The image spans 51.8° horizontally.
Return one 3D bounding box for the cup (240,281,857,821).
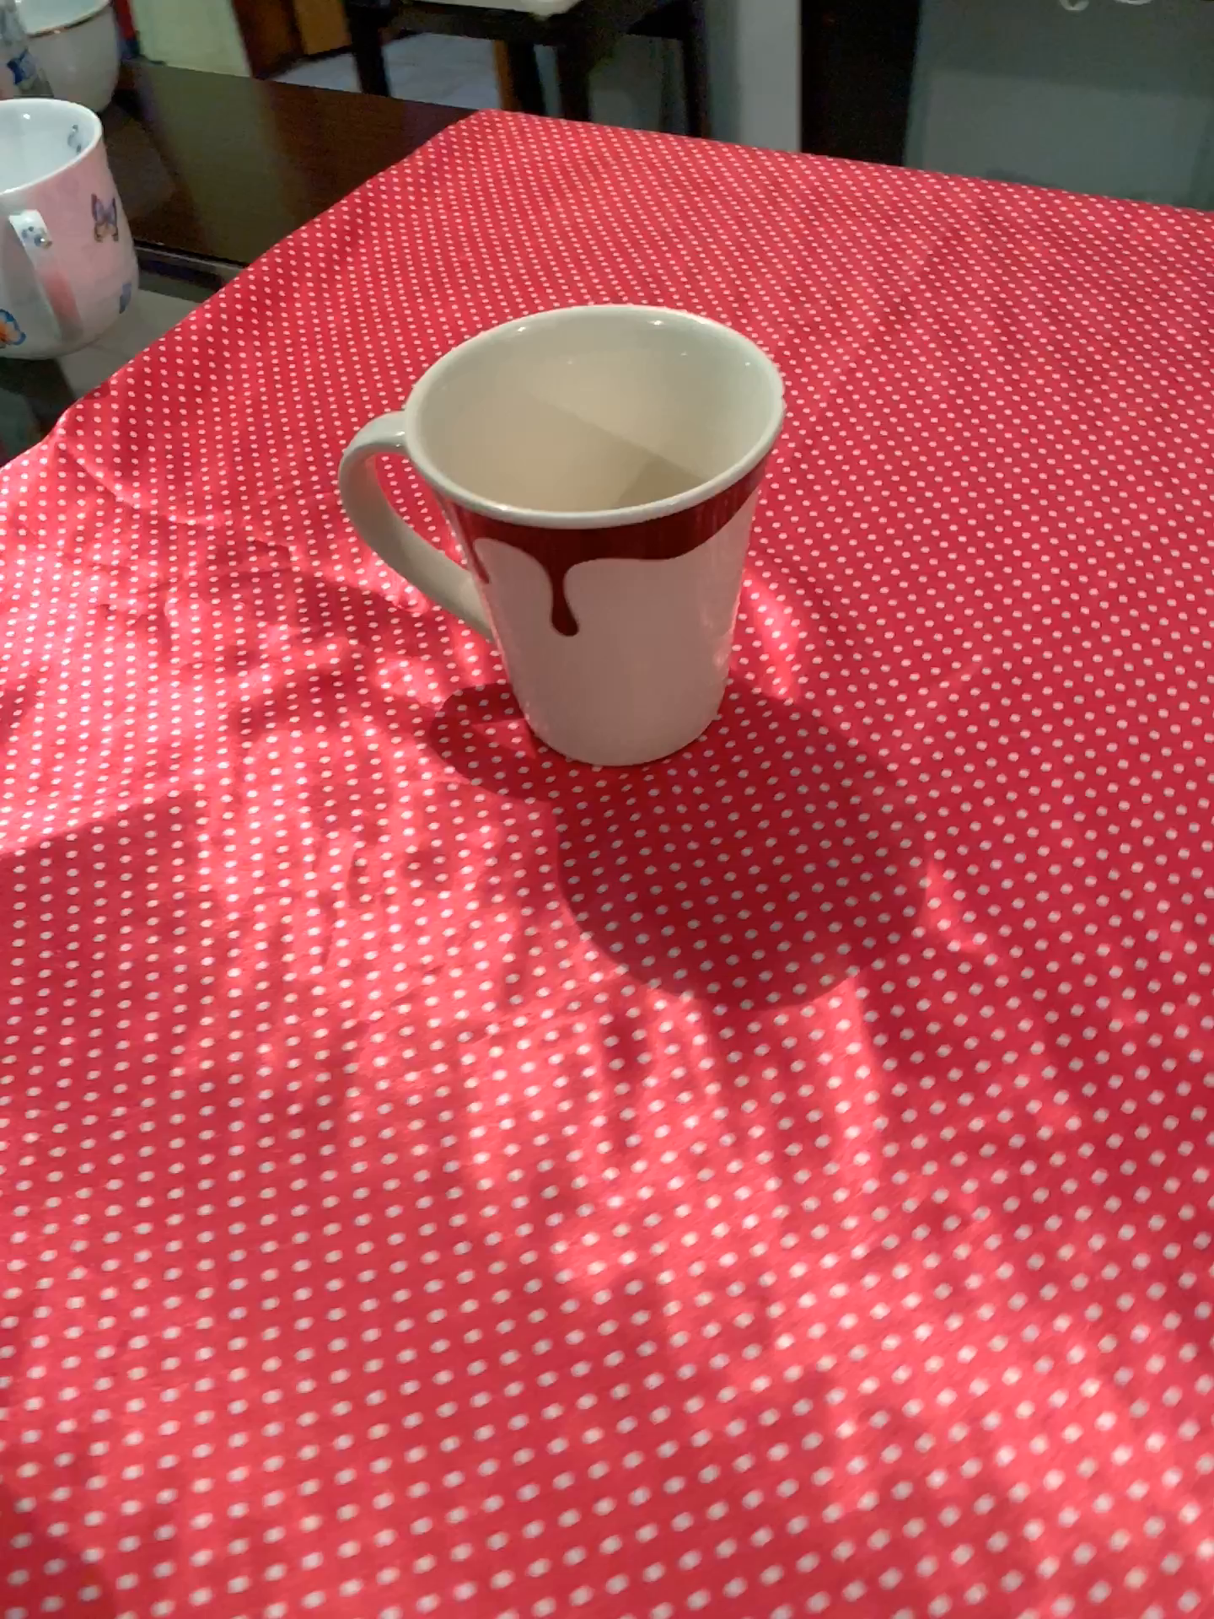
[{"bbox_3d":[-0.008,-0.075,0.349,0.130,0.090,0.100,11,52,16],"label":"cup"}]
